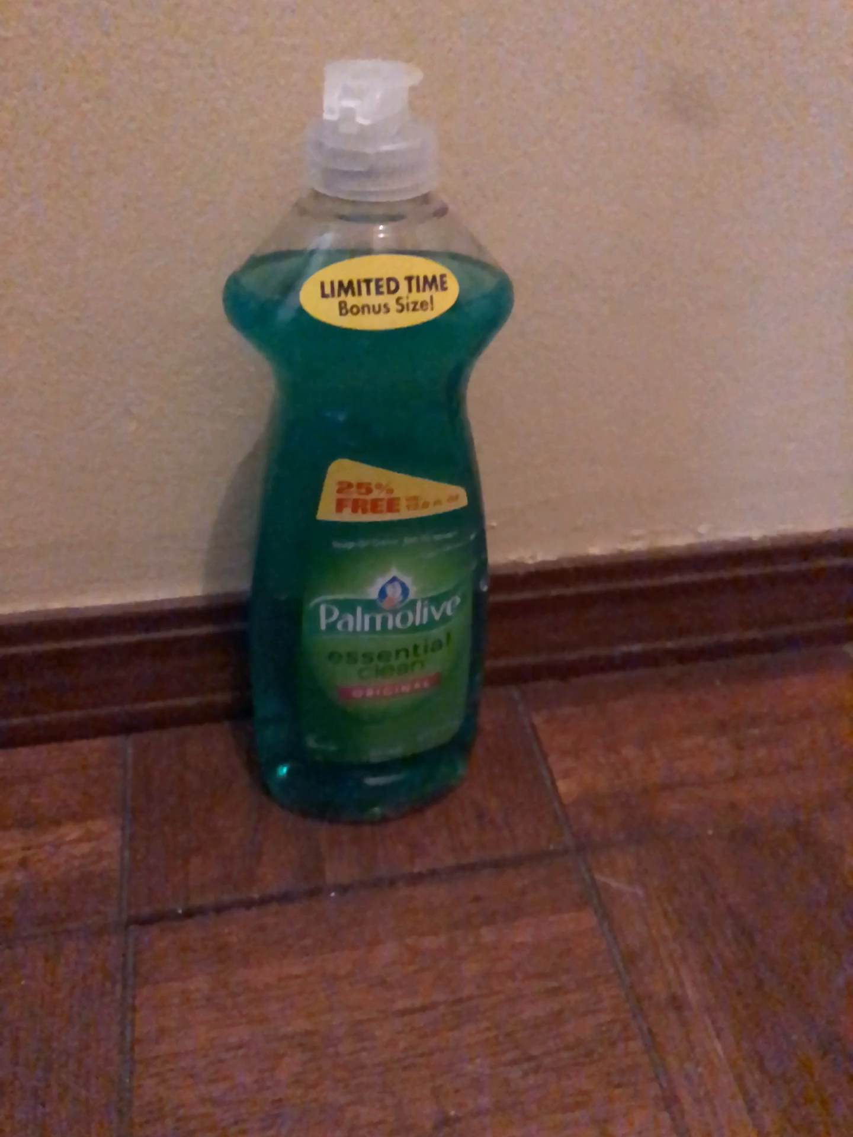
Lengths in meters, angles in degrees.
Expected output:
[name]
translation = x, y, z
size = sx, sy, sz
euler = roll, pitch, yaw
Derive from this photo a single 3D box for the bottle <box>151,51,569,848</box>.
[bottle]
translation = -0.020, -0.015, 0.274
size = 0.080, 0.229, 0.050
euler = -7, 41, -12
